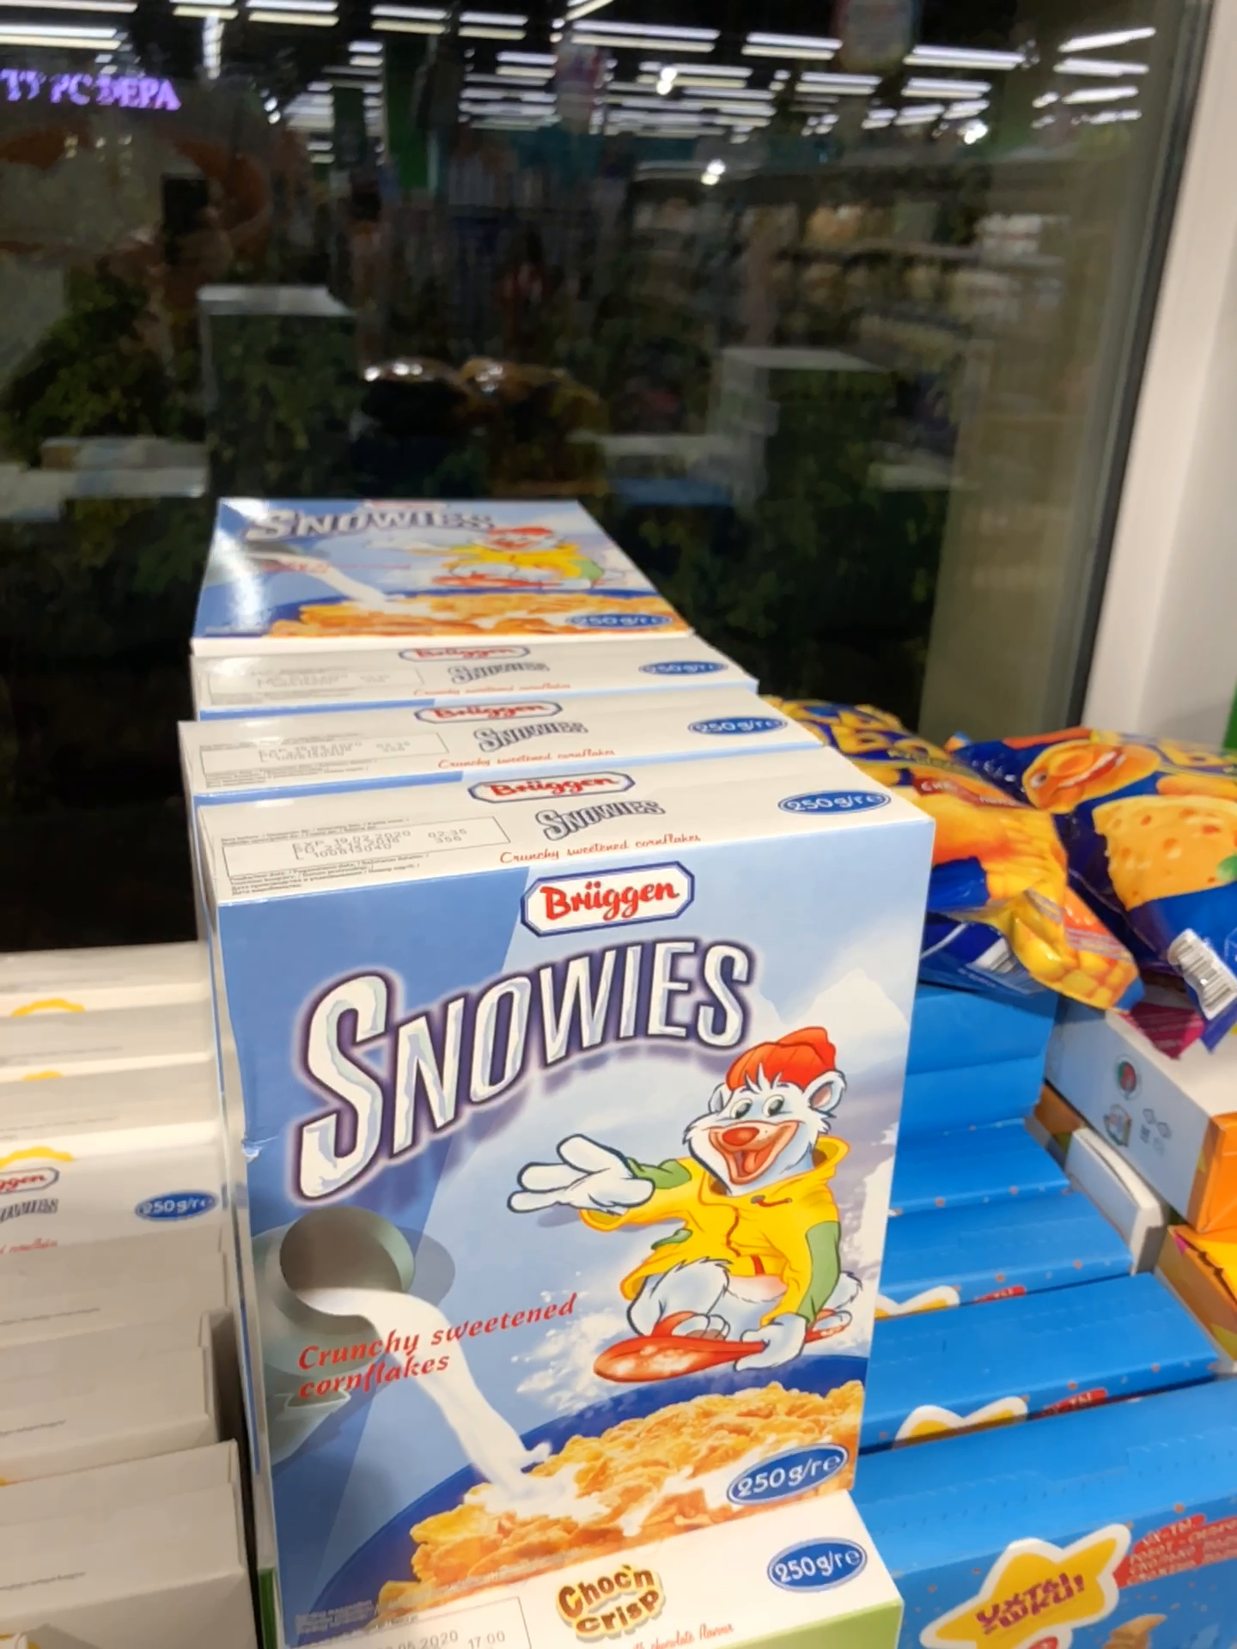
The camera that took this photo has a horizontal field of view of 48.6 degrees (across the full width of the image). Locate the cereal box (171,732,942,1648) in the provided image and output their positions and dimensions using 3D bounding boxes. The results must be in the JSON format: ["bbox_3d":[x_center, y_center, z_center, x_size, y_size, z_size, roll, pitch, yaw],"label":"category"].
[{"bbox_3d":[-0.020,0.113,0.425,0.200,0.259,0.070,-6,23,-18],"label":"cereal box"}]
